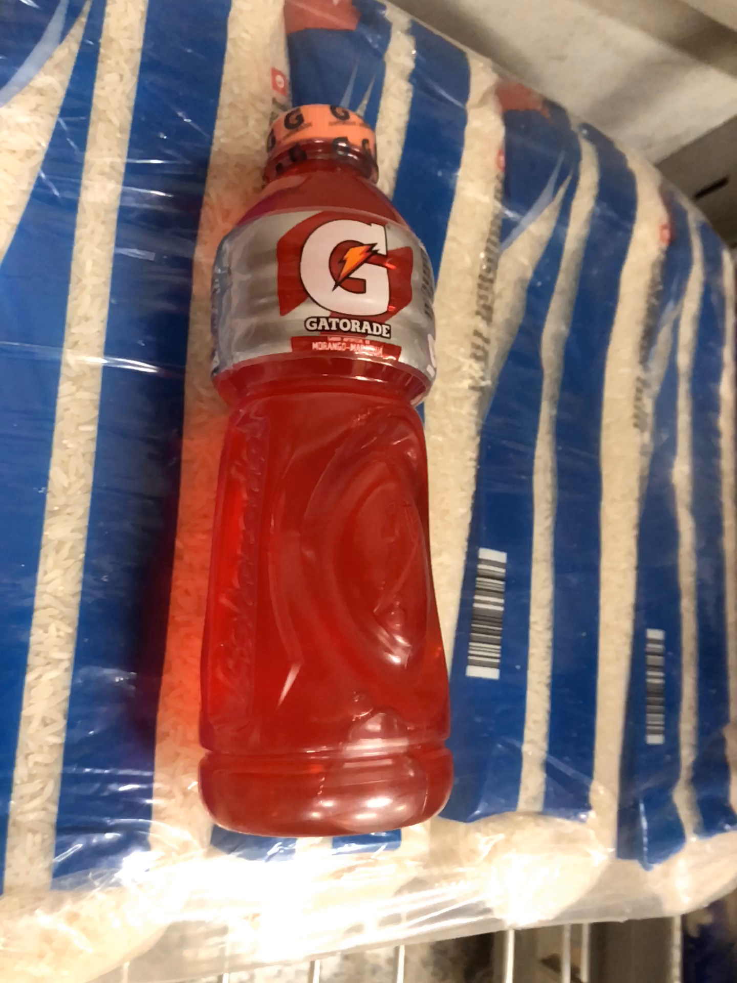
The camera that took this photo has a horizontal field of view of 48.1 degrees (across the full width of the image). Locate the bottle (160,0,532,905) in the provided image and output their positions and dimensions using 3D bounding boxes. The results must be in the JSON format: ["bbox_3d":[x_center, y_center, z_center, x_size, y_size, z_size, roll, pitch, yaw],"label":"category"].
[{"bbox_3d":[-0.007,-0.017,0.230,0.080,0.060,0.220,4,82,-26],"label":"bottle"}]
